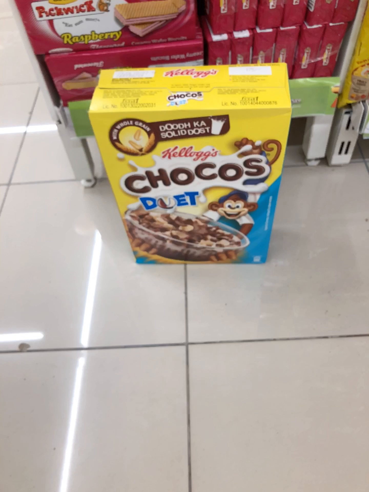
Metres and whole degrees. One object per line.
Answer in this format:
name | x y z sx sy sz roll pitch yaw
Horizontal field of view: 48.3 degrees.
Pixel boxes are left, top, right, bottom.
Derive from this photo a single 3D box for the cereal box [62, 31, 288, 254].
cereal box | 0.001 -0.092 0.469 0.190 0.259 0.070 0 55 5
